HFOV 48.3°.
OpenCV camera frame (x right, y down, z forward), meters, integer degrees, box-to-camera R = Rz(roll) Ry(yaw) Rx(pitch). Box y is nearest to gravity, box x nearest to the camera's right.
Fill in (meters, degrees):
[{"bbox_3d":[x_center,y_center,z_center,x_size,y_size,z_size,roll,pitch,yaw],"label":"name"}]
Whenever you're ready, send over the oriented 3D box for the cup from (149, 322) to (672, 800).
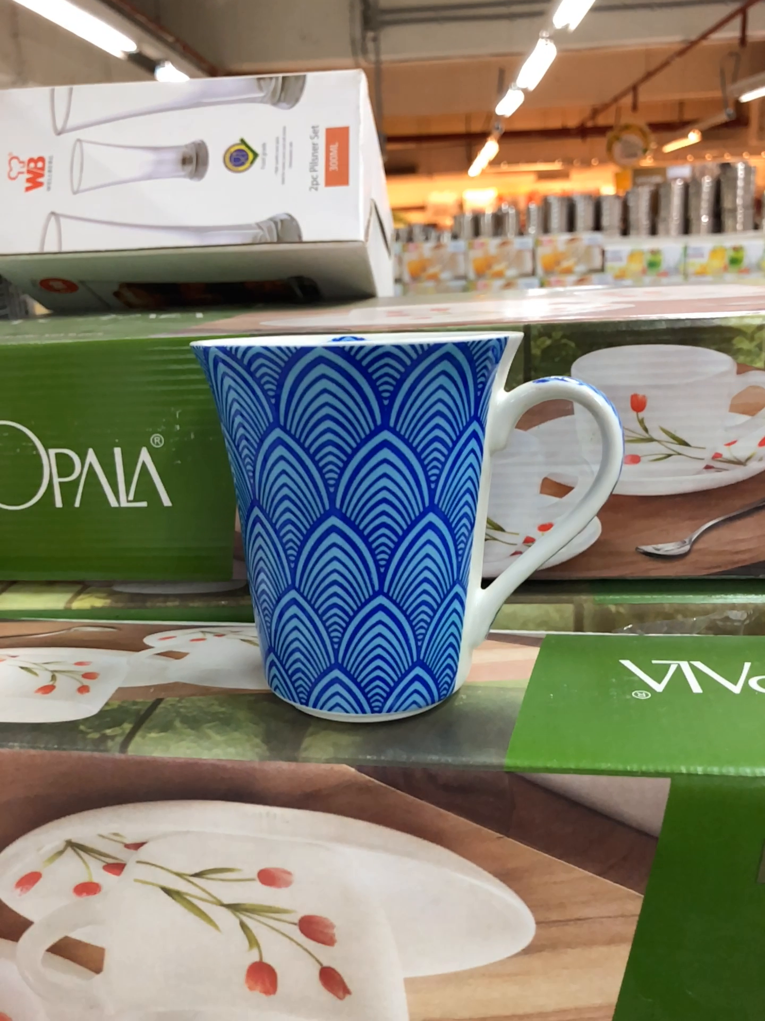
[{"bbox_3d":[0.013,0.006,0.230,0.110,0.100,0.080,1,18,11],"label":"cup"}]
